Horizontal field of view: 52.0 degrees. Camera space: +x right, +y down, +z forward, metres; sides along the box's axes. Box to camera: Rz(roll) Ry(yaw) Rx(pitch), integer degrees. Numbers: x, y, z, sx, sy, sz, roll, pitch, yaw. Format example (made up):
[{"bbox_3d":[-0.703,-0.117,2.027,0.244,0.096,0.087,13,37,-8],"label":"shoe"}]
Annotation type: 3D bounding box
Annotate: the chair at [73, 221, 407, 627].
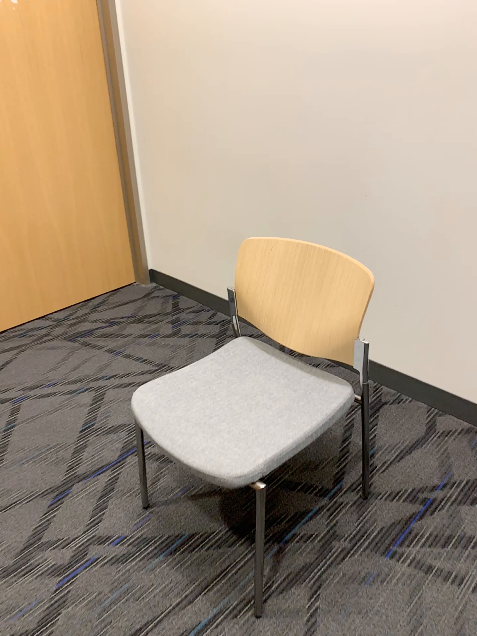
[{"bbox_3d":[0.015,0.204,1.286,0.556,0.705,0.537,23,37,39],"label":"chair"}]
